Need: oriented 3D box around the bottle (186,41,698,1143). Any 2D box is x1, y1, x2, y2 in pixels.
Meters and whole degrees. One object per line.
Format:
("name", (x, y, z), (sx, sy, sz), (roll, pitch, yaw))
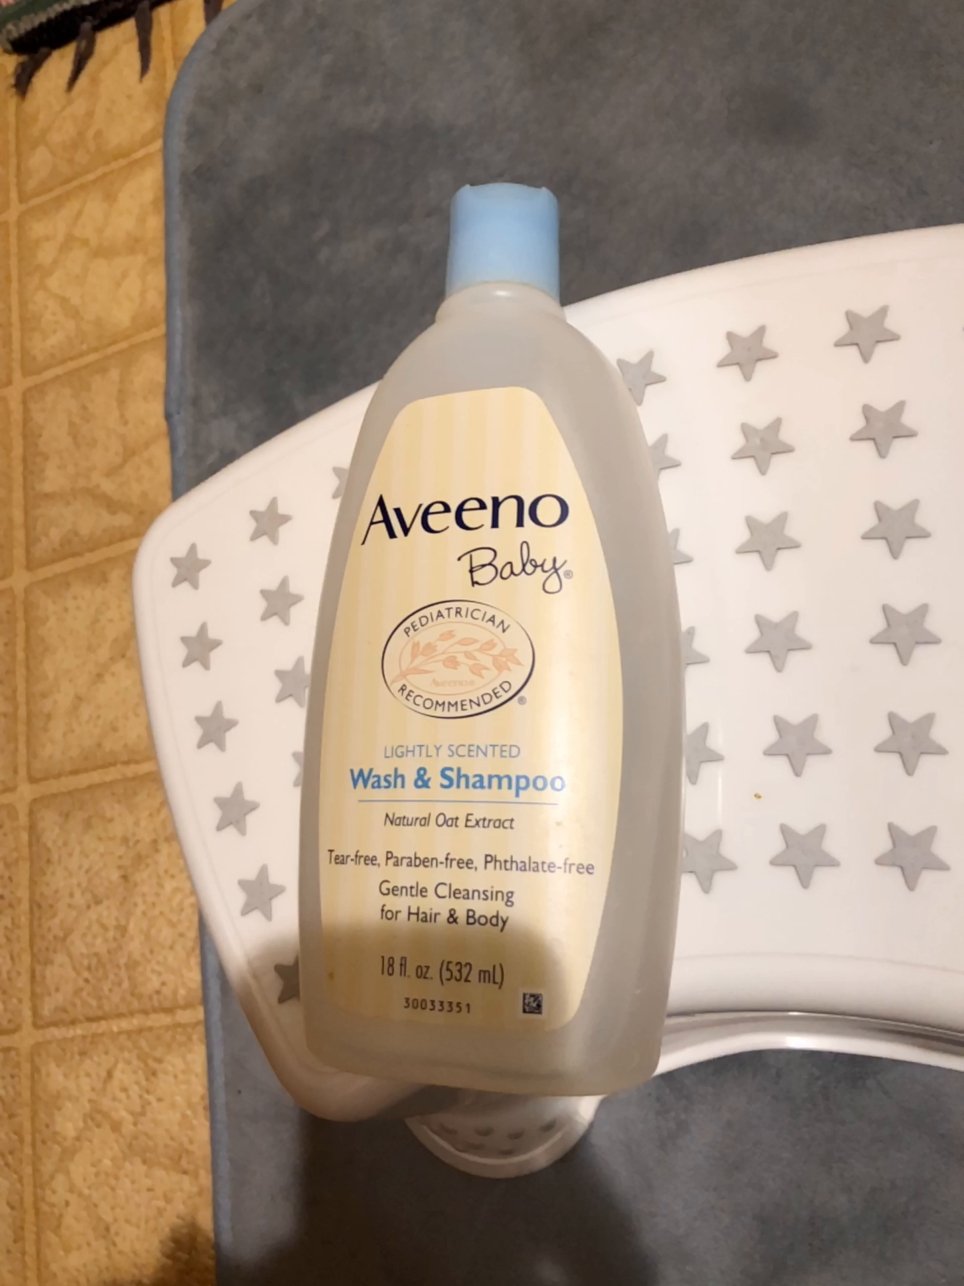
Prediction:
("bottle", (-0.003, -0.019, 0.261), (0.100, 0.040, 0.240), (-2, 75, 22))
